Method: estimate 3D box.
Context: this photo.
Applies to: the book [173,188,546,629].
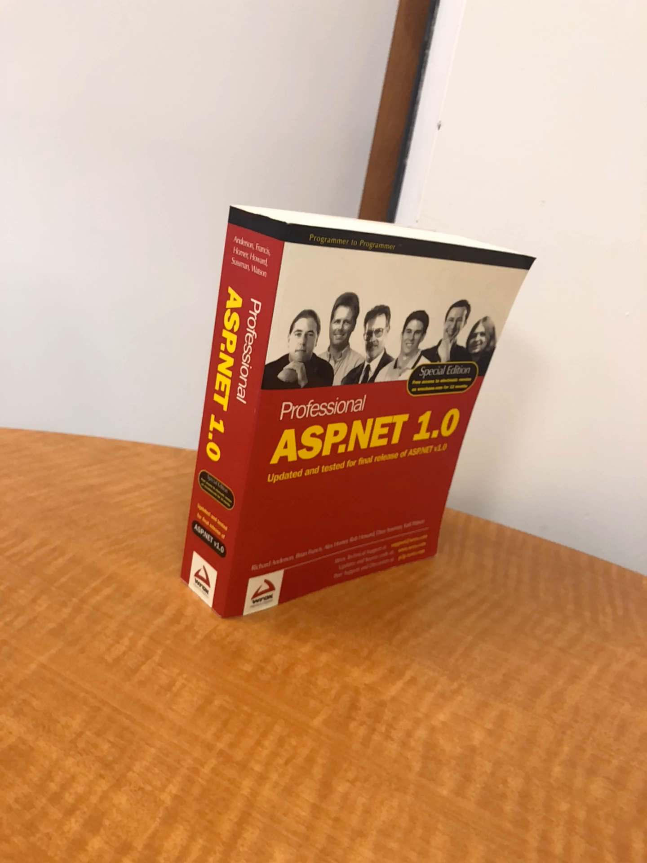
[{"bbox_3d":[0.026,-0.015,0.446,0.210,0.229,0.050,-6,26,-41],"label":"book"}]
